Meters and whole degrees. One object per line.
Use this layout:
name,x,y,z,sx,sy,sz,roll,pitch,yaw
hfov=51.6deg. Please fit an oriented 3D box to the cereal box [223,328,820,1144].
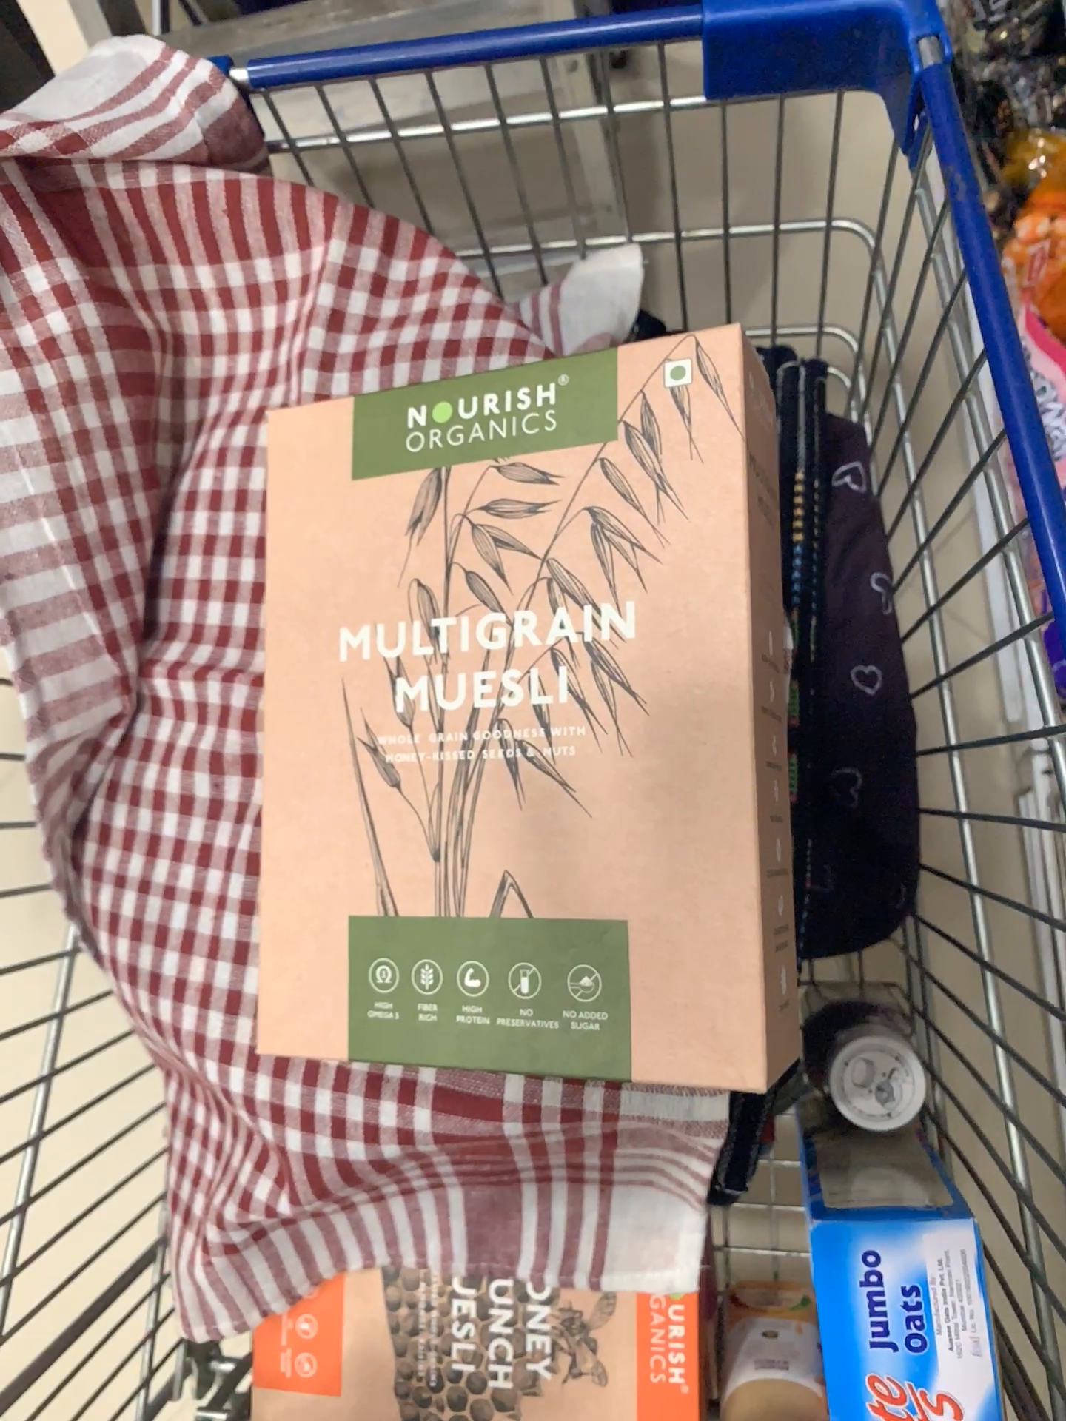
cereal box,-0.006,0.009,0.321,0.160,0.050,0.200,-3,83,21
